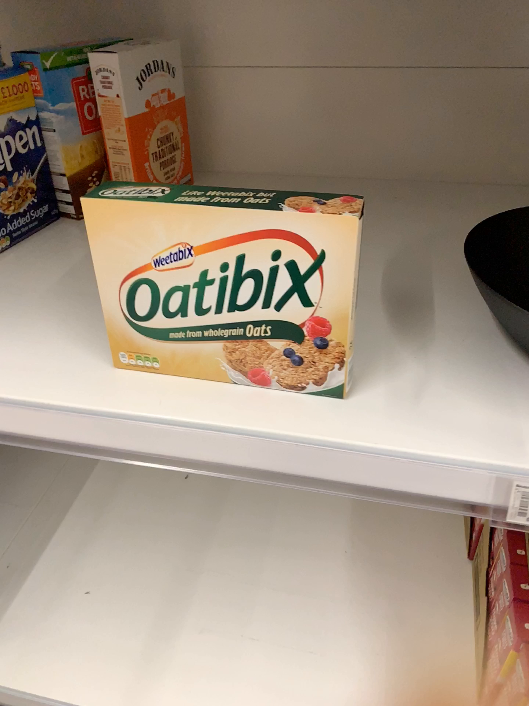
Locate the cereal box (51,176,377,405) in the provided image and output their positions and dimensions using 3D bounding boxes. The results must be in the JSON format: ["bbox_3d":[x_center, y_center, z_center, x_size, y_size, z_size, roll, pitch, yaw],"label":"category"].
[{"bbox_3d":[-0.041,-0.061,0.514,0.270,0.178,0.071,7,36,13],"label":"cereal box"}]
